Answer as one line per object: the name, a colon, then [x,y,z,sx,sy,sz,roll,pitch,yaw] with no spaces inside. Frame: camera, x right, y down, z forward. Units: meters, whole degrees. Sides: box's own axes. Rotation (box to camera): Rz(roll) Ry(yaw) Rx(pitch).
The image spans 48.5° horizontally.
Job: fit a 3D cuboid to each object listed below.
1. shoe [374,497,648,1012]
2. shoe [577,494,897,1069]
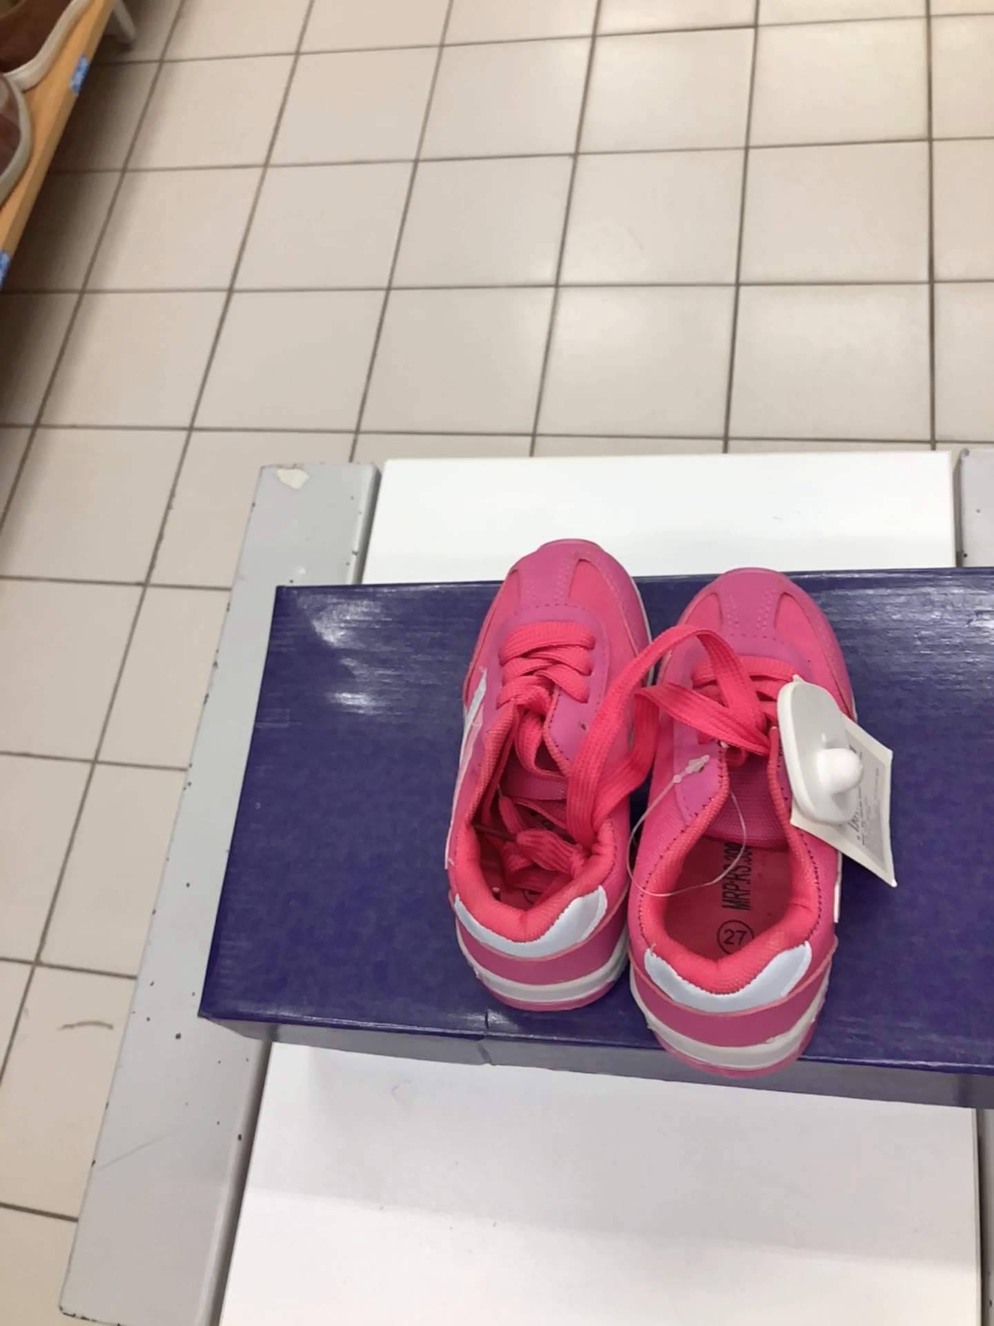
shoe: [0.013,0.034,0.394,0.070,0.090,0.160,1,67,11]
shoe: [0.076,0.039,0.354,0.080,0.090,0.160,1,67,11]
